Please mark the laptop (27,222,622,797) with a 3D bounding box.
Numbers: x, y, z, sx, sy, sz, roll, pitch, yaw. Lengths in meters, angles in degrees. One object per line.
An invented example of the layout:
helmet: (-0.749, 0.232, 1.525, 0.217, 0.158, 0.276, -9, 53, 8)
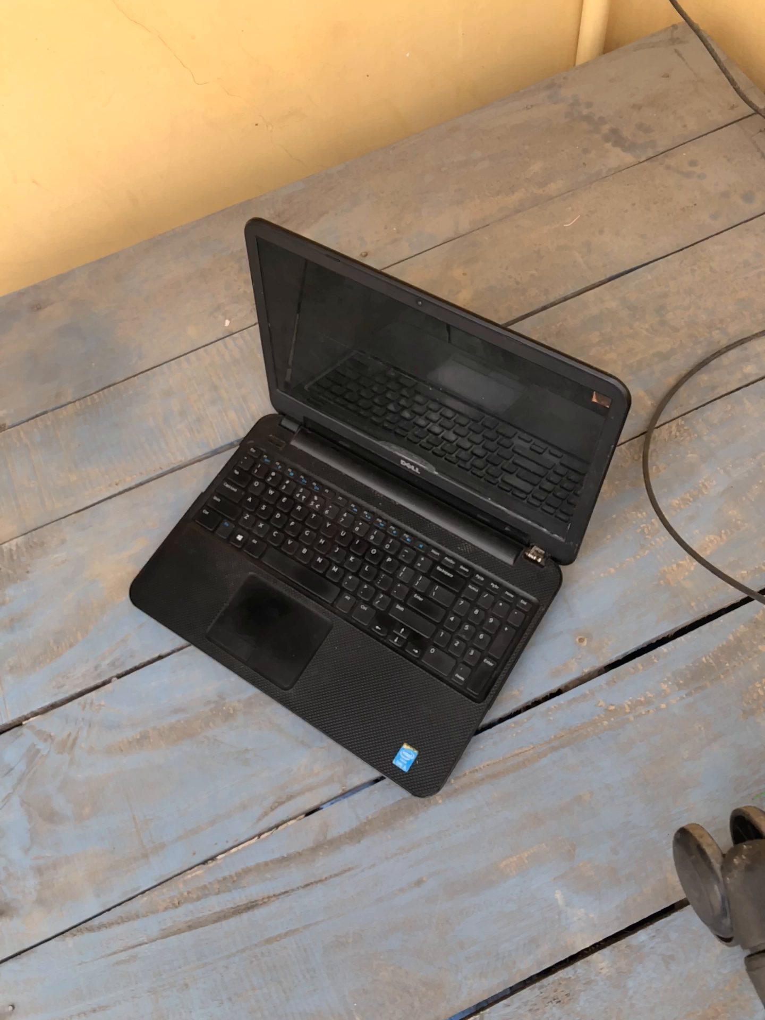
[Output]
laptop: (-0.036, -0.002, 0.718, 0.332, 0.215, 0.307, 29, 72, 20)
